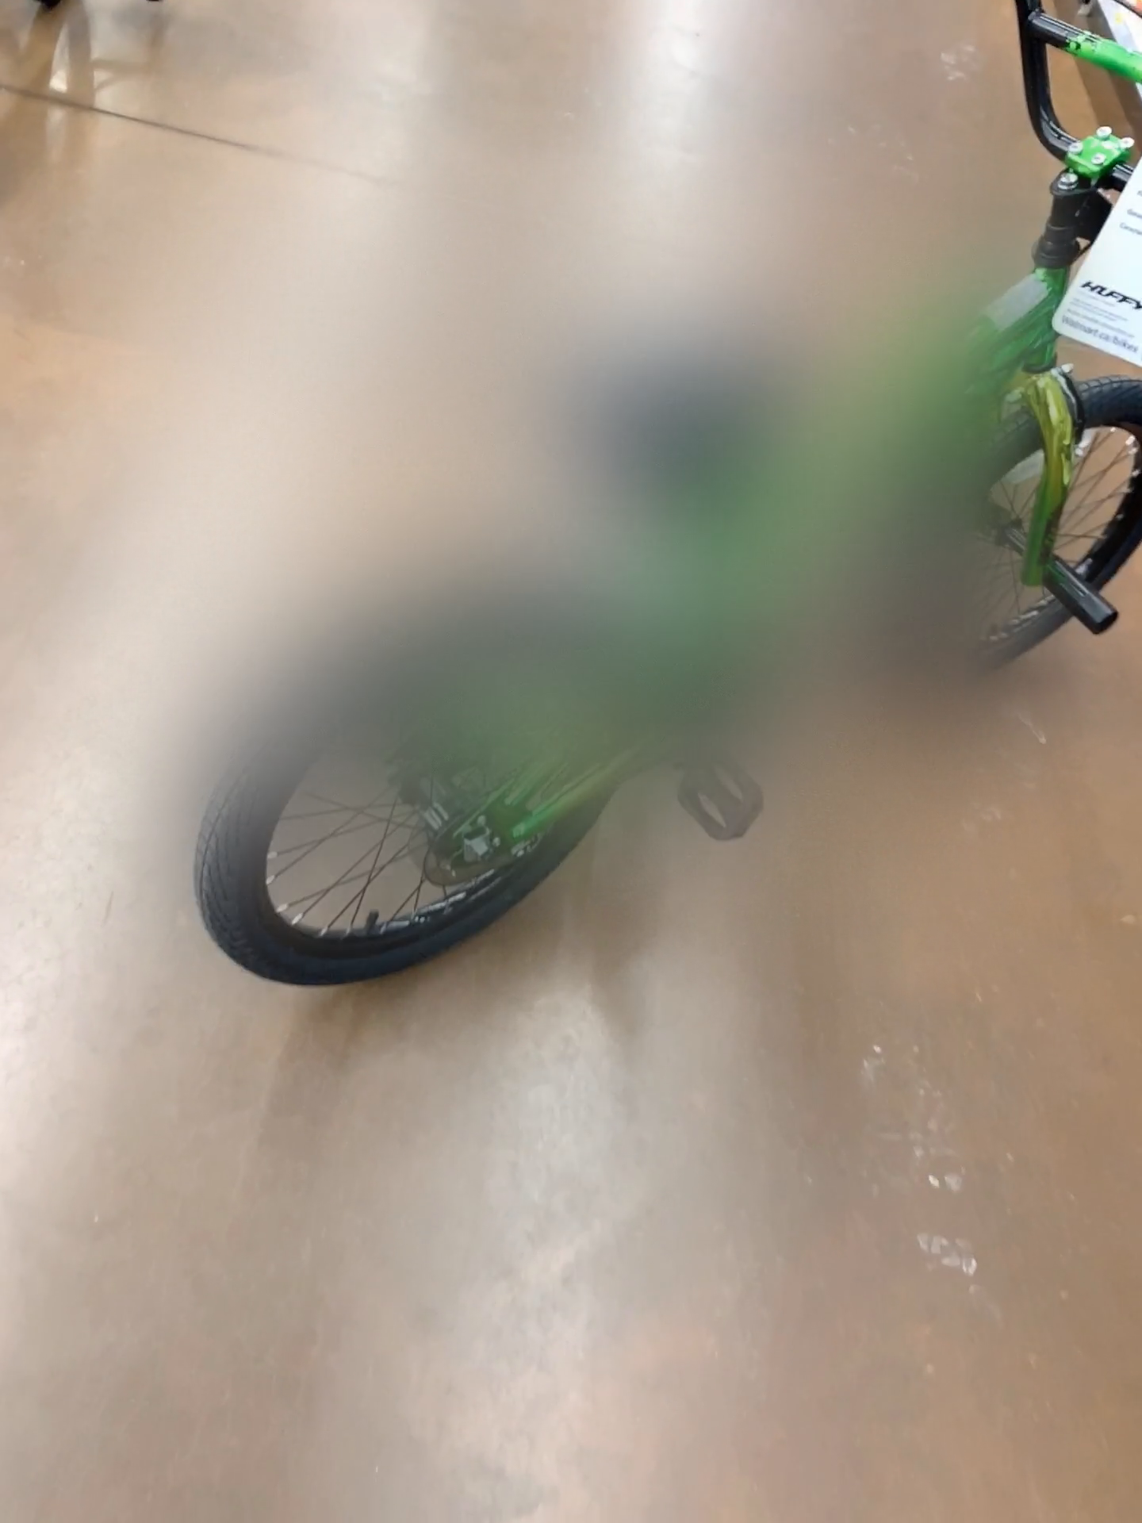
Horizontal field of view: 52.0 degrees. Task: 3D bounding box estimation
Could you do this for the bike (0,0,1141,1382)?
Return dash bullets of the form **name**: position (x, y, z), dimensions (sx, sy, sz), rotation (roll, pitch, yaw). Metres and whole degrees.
- **bike**: position (0.398, -0.234, 1.123), dimensions (1.408, 1.035, 0.718), rotation (-25, 60, -22)
